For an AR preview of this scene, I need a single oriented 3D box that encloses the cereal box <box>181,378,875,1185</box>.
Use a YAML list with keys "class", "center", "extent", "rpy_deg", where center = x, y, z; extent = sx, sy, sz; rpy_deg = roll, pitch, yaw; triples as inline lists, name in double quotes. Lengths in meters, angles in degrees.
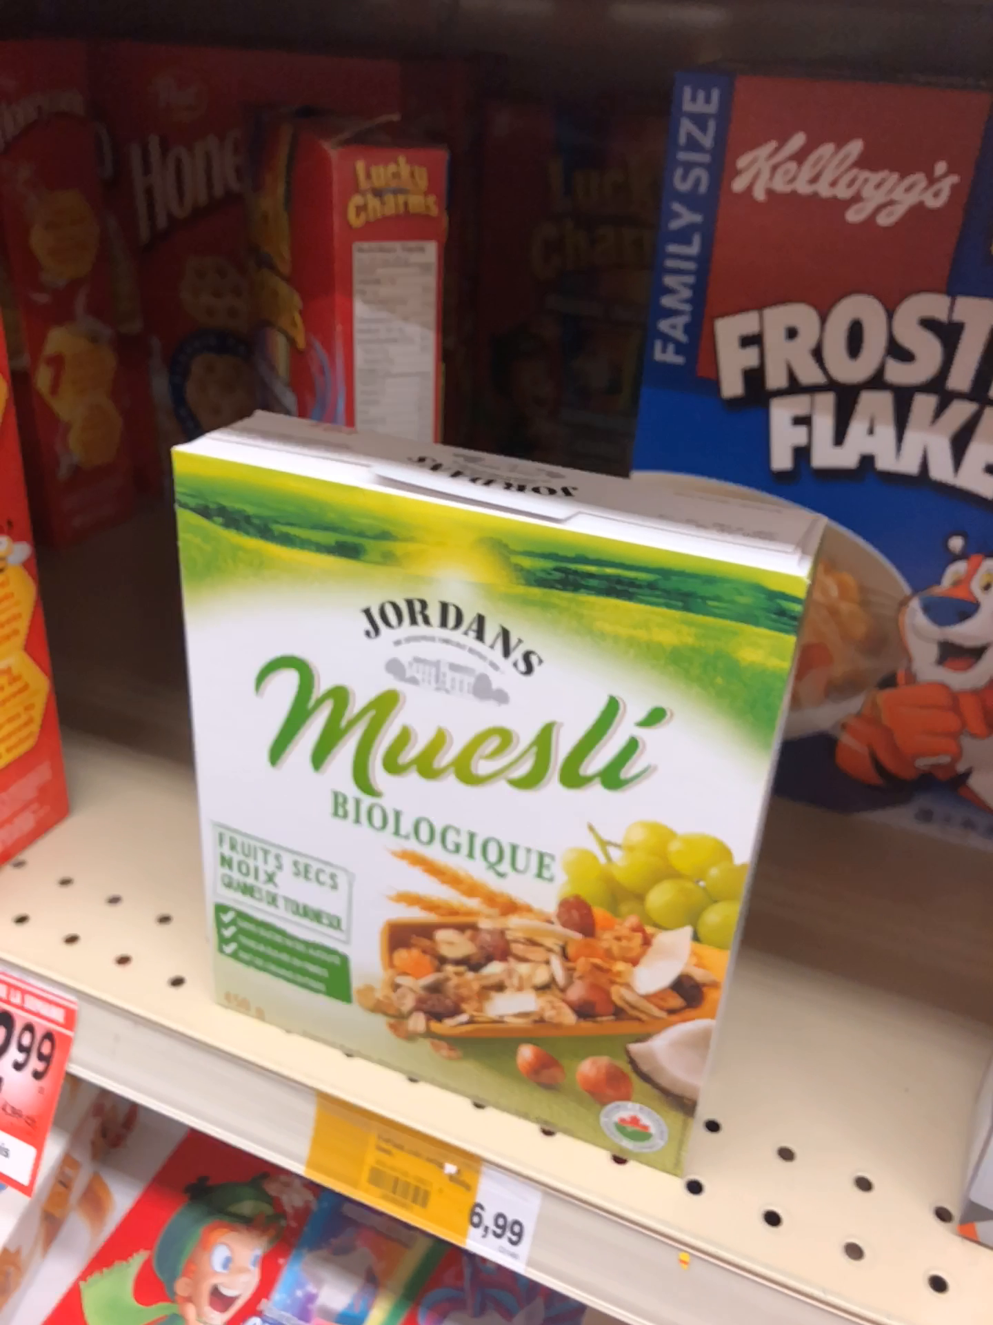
- class: "cereal box"
  center: [0.000, 0.039, 0.349]
  extent: [0.180, 0.218, 0.050]
  rpy_deg: [14, 31, 18]
